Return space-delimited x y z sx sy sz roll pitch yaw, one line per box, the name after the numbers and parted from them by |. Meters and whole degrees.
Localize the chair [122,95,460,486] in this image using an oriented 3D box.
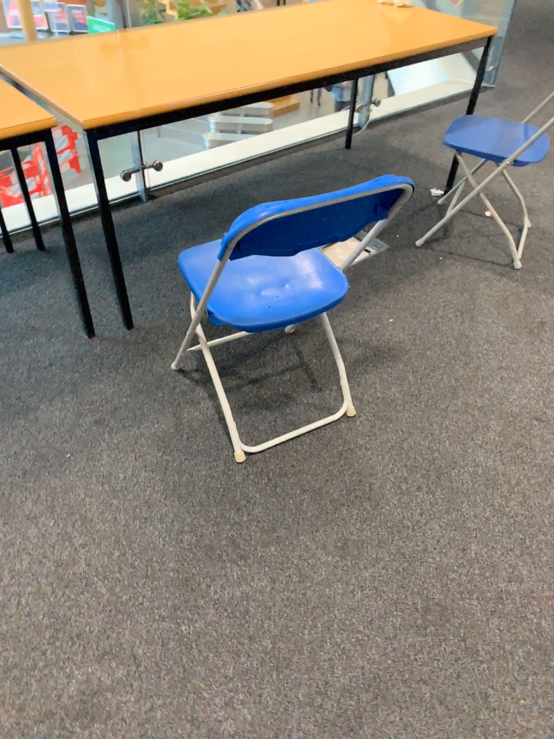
-0.007 -0.216 1.463 0.531 0.713 0.554 -19 47 -22 | chair
